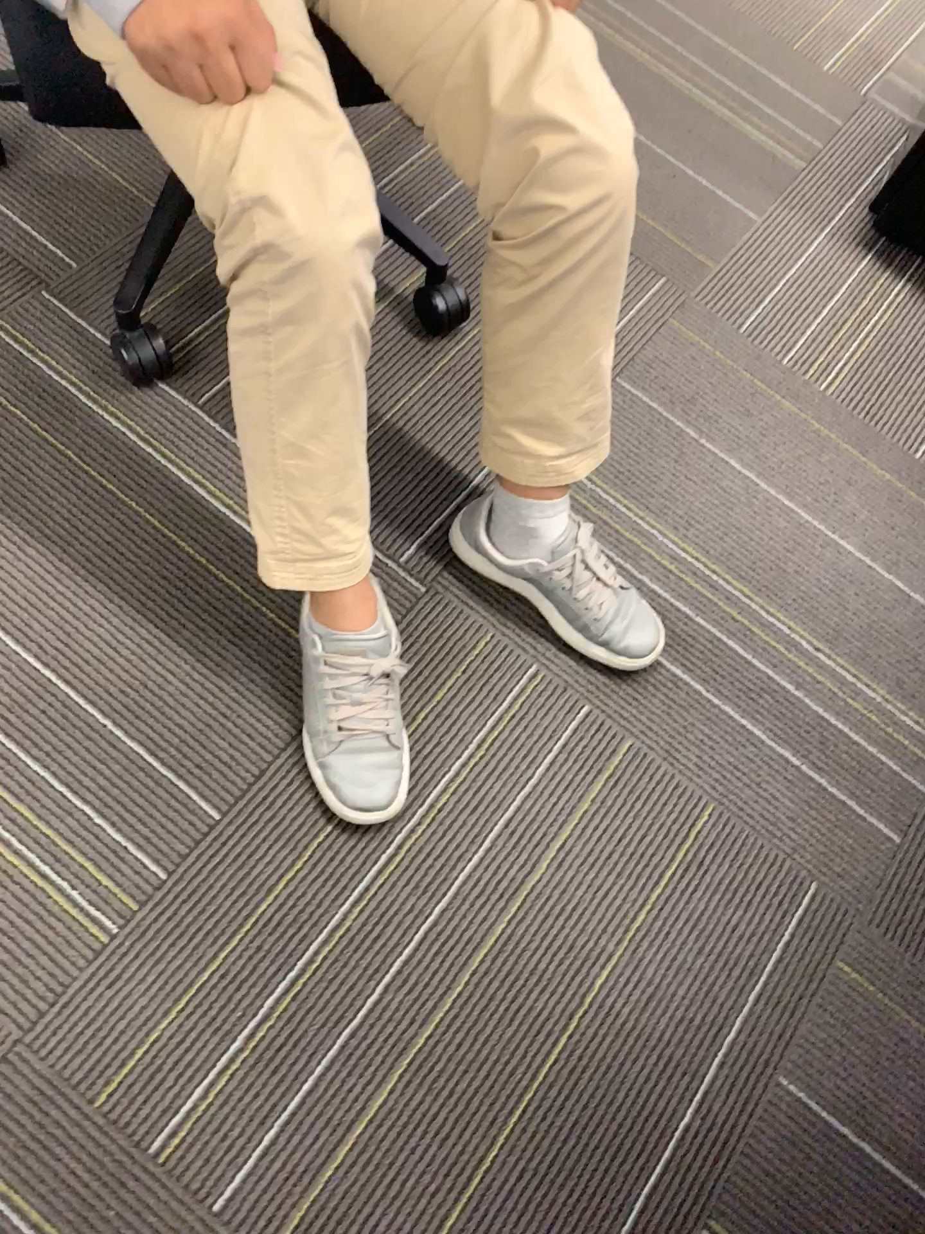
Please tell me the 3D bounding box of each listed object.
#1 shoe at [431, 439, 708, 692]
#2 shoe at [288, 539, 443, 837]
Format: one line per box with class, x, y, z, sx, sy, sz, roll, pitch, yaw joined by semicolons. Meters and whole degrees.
shoe;0.118;-0.058;1.091;0.280;0.110;0.120;36;65;6
shoe;-0.110;0.074;0.984;0.120;0.140;0.270;-5;68;-13
